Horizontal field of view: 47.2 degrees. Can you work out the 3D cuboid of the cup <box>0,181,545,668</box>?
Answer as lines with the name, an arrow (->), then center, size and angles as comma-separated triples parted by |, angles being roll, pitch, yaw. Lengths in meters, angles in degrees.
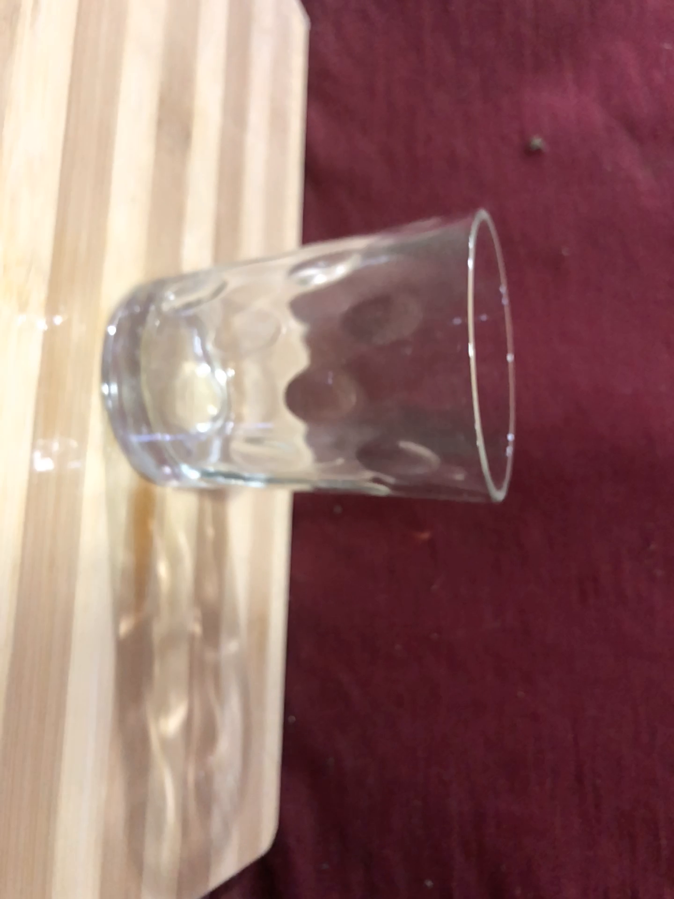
cup -> -0.004, -0.011, 0.229 | 0.100, 0.119, 0.100 | -3, 90, -73
